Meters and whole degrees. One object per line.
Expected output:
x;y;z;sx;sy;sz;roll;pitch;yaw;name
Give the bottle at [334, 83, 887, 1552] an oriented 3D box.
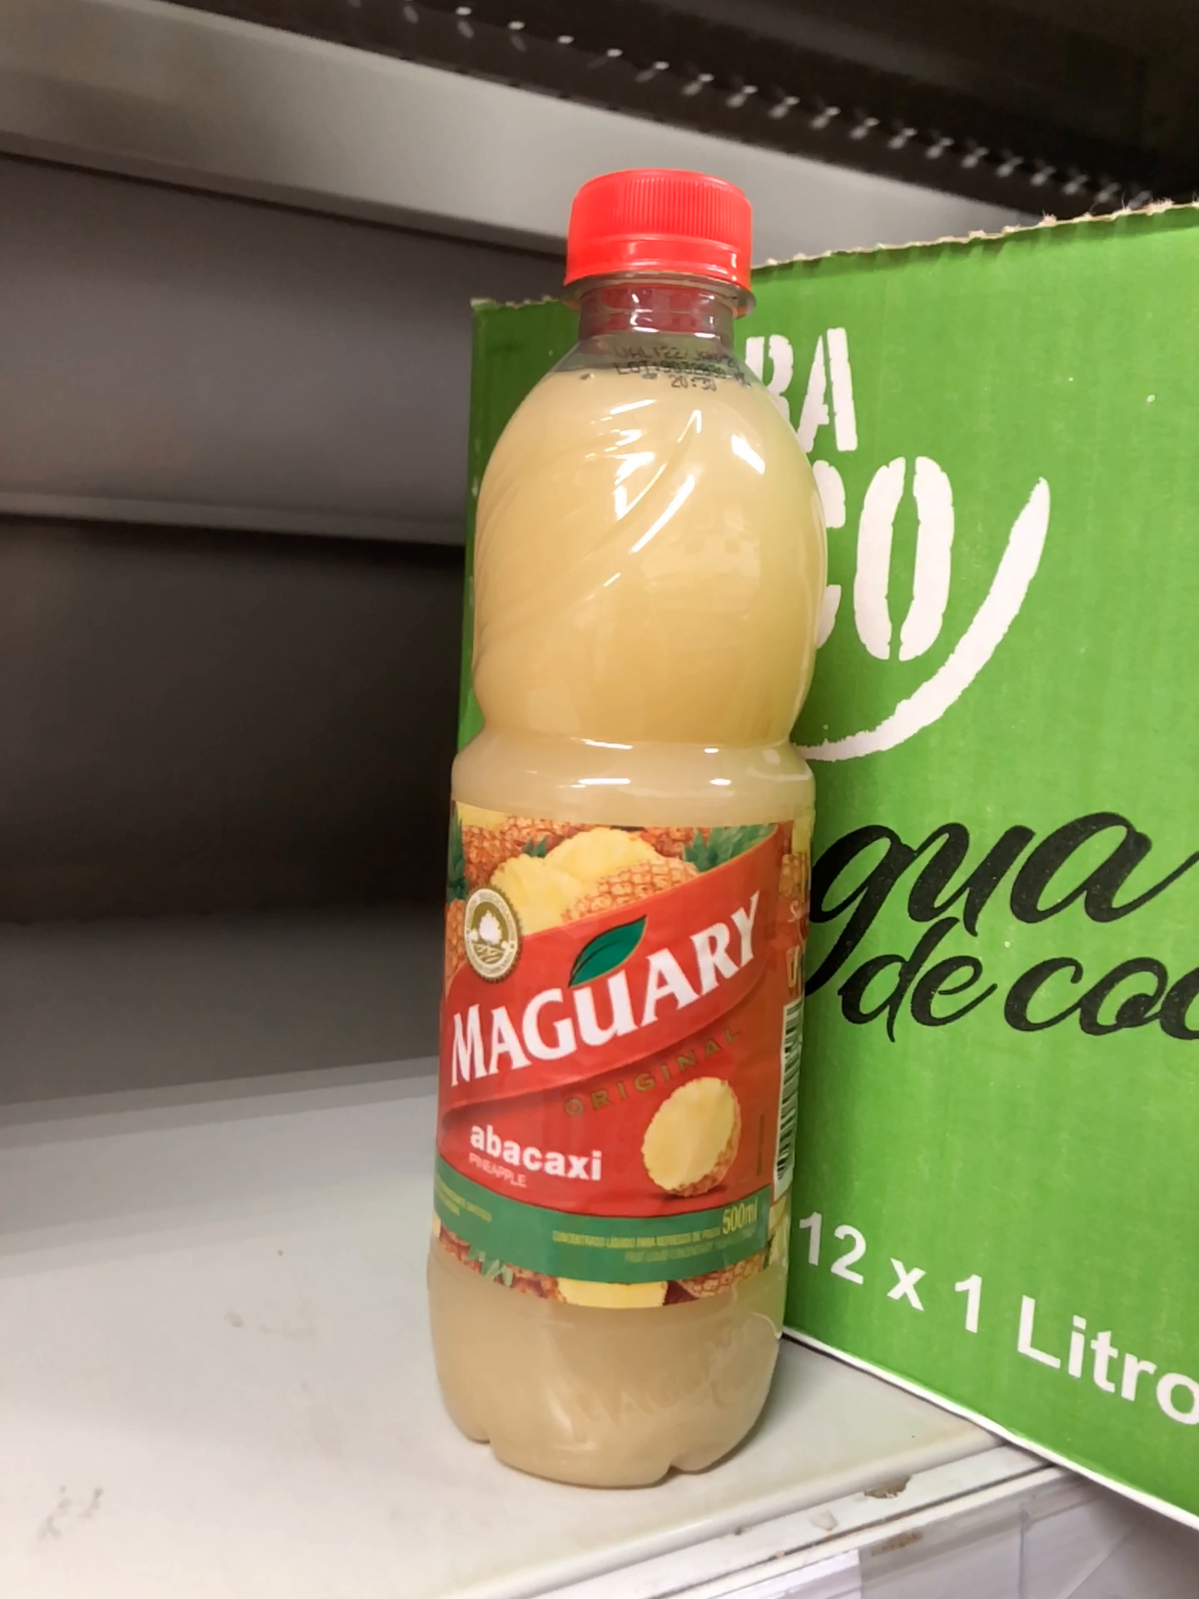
0.003;0.003;0.225;0.070;0.209;0.060;5;8;14;bottle
